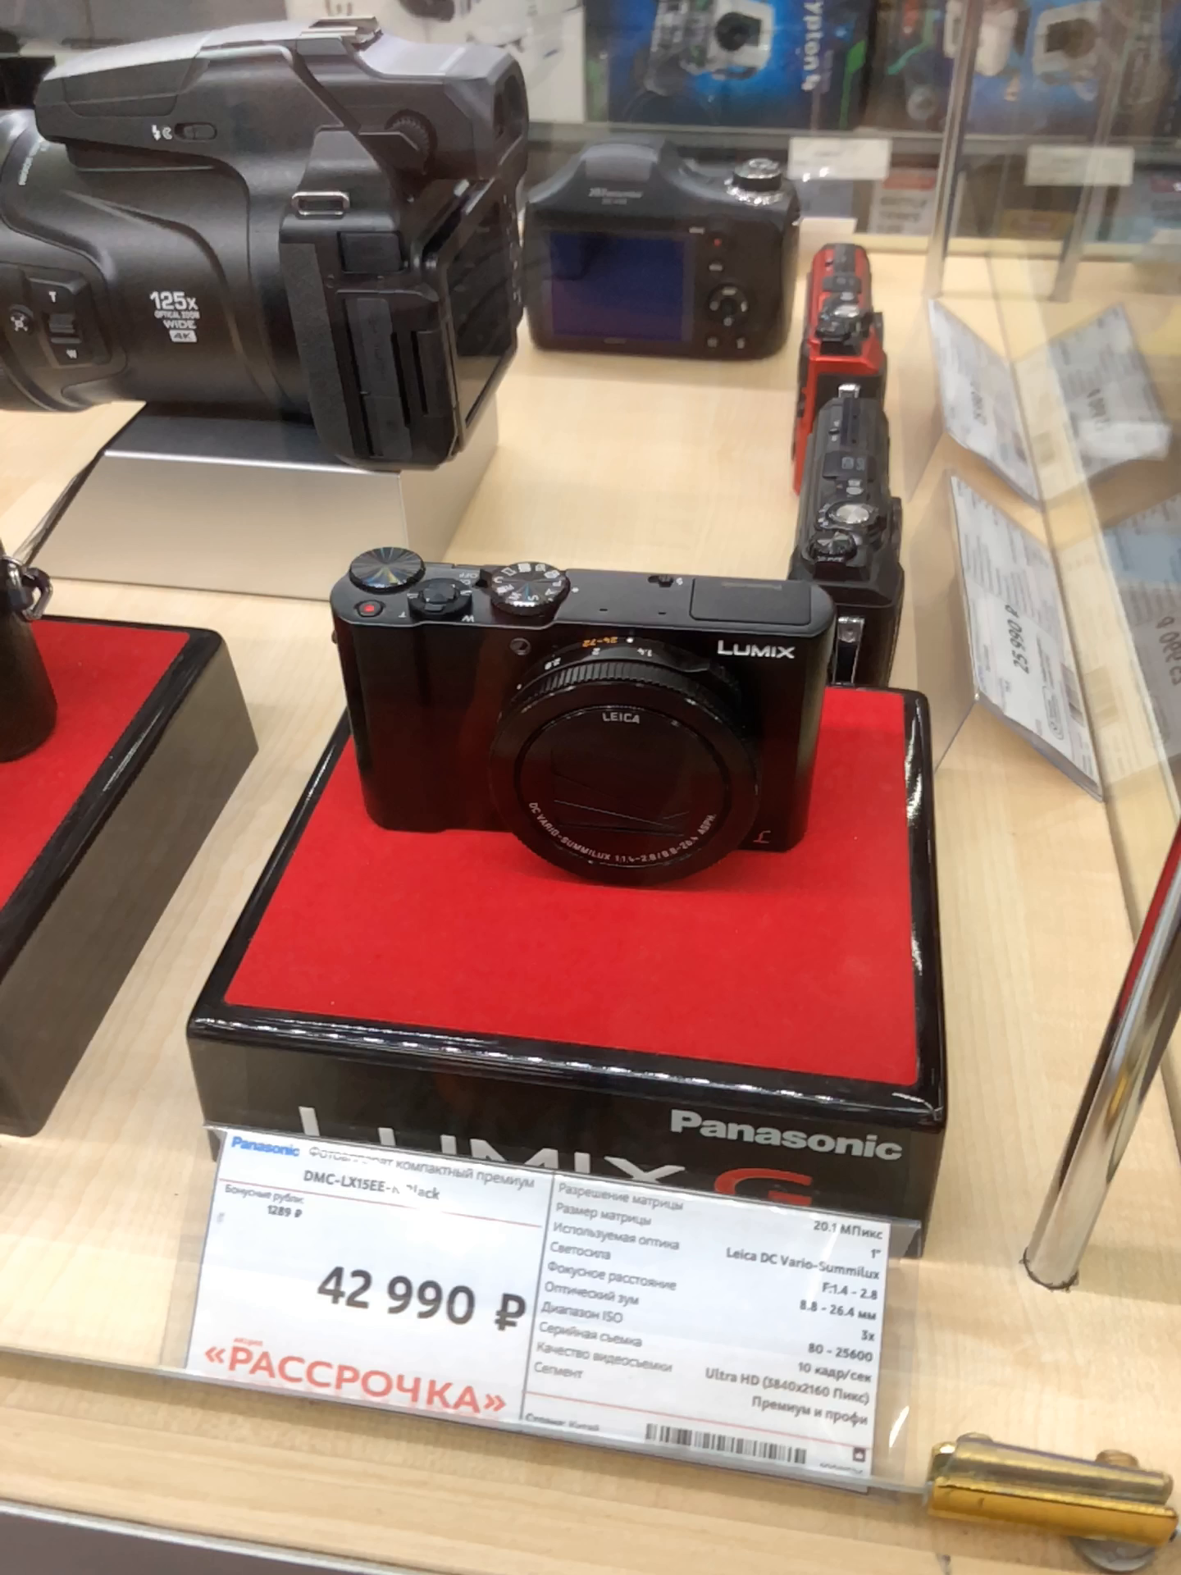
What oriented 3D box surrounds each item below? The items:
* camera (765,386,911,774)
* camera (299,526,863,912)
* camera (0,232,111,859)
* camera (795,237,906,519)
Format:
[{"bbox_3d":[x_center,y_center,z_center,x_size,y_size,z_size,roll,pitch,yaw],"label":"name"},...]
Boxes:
[{"bbox_3d":[0.079,-0.069,0.413,0.033,0.072,0.111,6,41,9],"label":"camera"},{"bbox_3d":[0.000,-0.015,0.292,0.110,0.070,0.040,3,40,5],"label":"camera"},{"bbox_3d":[-0.186,-0.053,0.291,0.110,0.112,0.066,5,40,7],"label":"camera"},{"bbox_3d":[0.106,-0.171,0.539,0.033,0.072,0.111,5,40,7],"label":"camera"}]
